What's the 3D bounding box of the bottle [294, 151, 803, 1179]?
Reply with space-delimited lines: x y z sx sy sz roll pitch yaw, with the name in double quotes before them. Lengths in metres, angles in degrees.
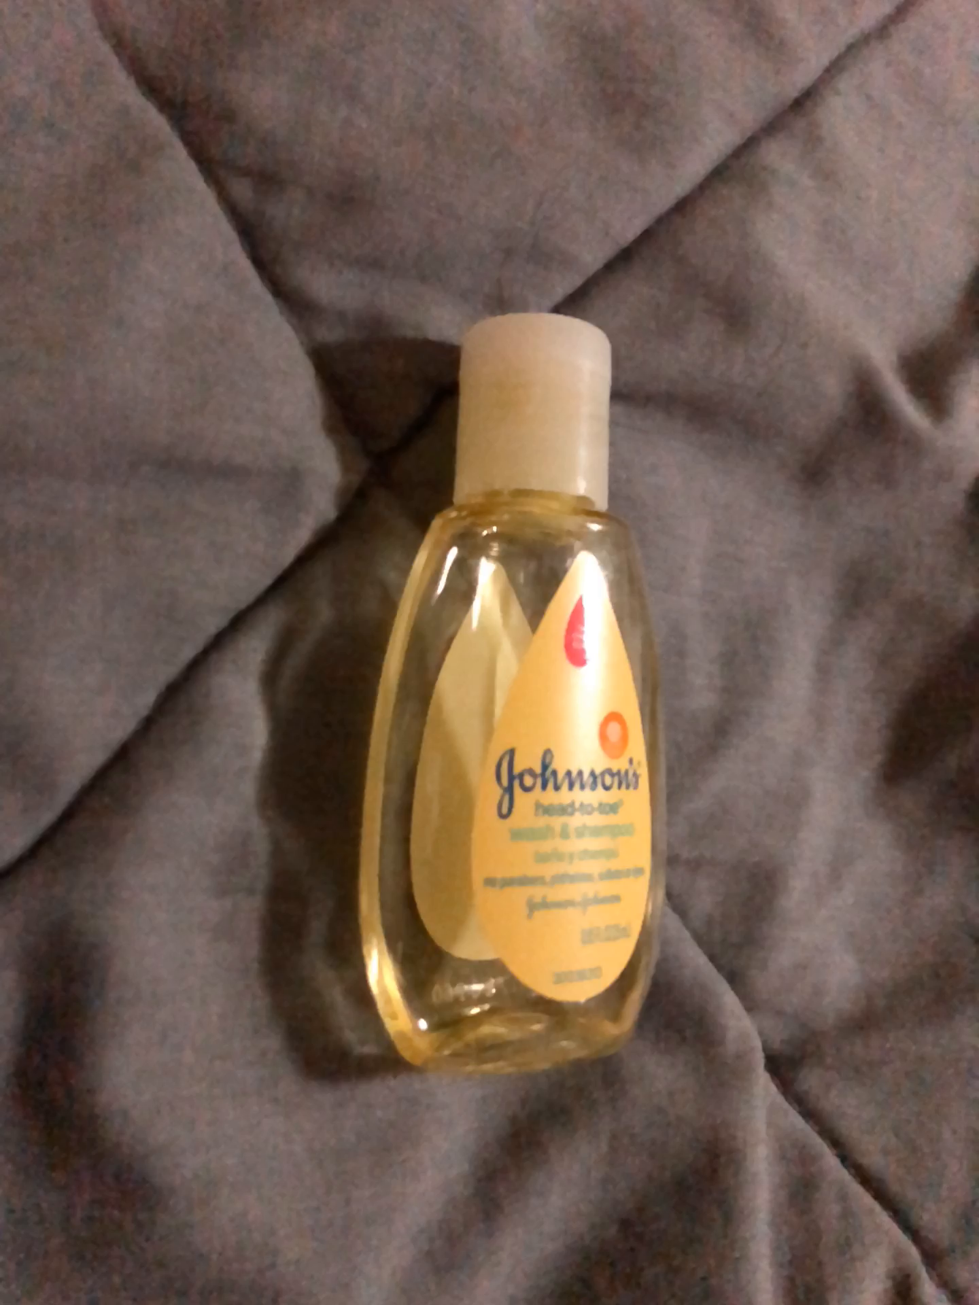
"bottle" 0.007 0.001 0.119 0.050 0.020 0.090 4 83 -33
